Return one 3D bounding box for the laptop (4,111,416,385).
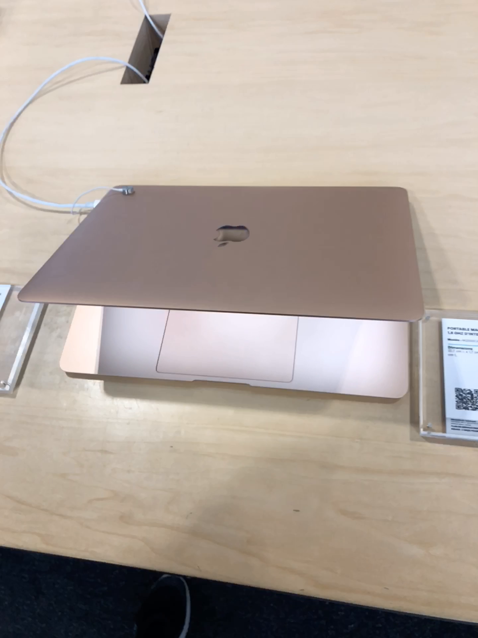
[{"bbox_3d":[-0.008,-0.064,0.449,0.288,0.093,0.203,3,62,12],"label":"laptop"}]
